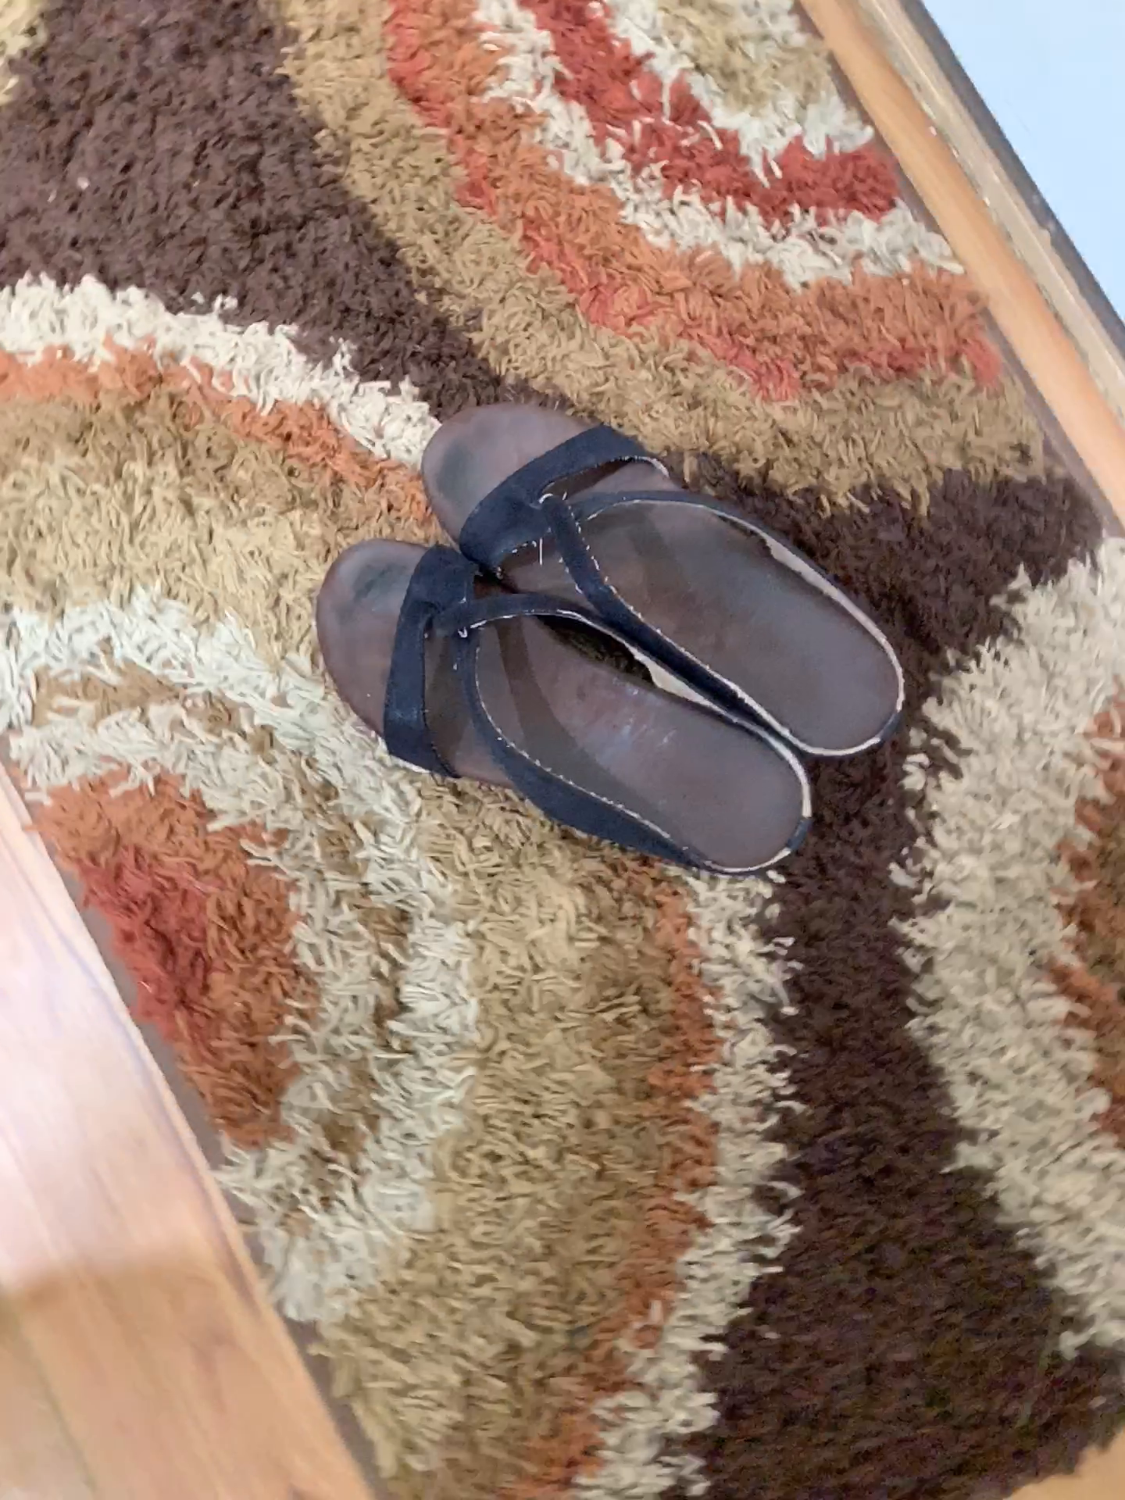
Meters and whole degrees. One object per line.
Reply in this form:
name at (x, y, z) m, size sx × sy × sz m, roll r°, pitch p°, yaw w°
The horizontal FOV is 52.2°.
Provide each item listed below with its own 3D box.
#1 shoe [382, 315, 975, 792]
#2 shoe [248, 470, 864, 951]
shoe at (0.045, -0.078, 0.478) m, size 0.223 × 0.052 × 0.084 m, roll 31°, pitch 82°, yaw 2°
shoe at (-0.003, -0.013, 0.474) m, size 0.222 × 0.062 × 0.090 m, roll 29°, pitch 82°, yaw 1°
